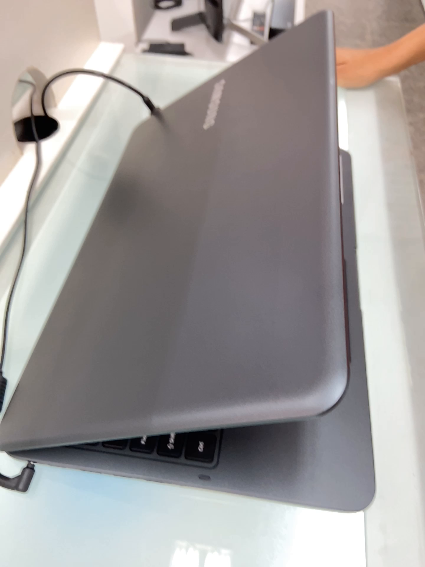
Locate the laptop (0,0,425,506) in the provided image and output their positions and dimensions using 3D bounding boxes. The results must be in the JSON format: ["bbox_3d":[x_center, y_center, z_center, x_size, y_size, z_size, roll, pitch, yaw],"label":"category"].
[{"bbox_3d":[0.008,-0.065,0.347,0.238,0.140,0.378,7,52,4],"label":"laptop"}]
